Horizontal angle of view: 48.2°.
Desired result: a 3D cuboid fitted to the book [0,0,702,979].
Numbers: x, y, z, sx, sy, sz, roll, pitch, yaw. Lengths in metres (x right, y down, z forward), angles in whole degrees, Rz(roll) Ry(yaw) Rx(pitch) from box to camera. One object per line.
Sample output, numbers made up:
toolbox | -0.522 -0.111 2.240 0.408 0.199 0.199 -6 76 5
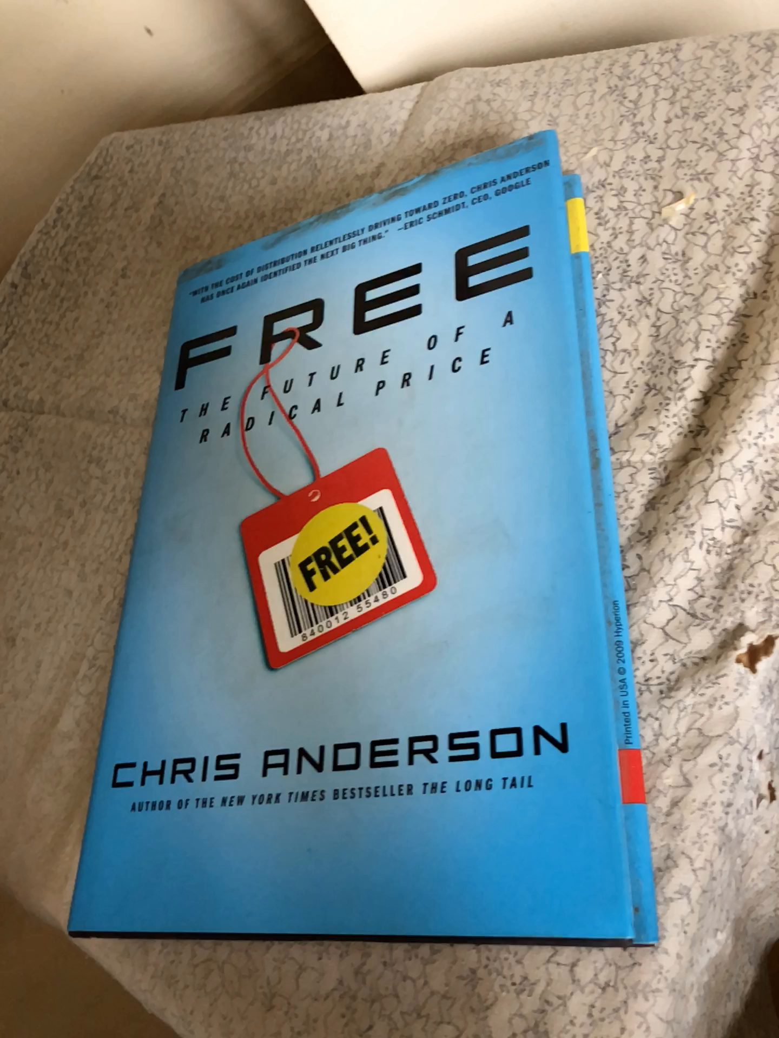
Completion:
book | -0.021 -0.019 0.269 0.180 0.040 0.280 -14 57 27
